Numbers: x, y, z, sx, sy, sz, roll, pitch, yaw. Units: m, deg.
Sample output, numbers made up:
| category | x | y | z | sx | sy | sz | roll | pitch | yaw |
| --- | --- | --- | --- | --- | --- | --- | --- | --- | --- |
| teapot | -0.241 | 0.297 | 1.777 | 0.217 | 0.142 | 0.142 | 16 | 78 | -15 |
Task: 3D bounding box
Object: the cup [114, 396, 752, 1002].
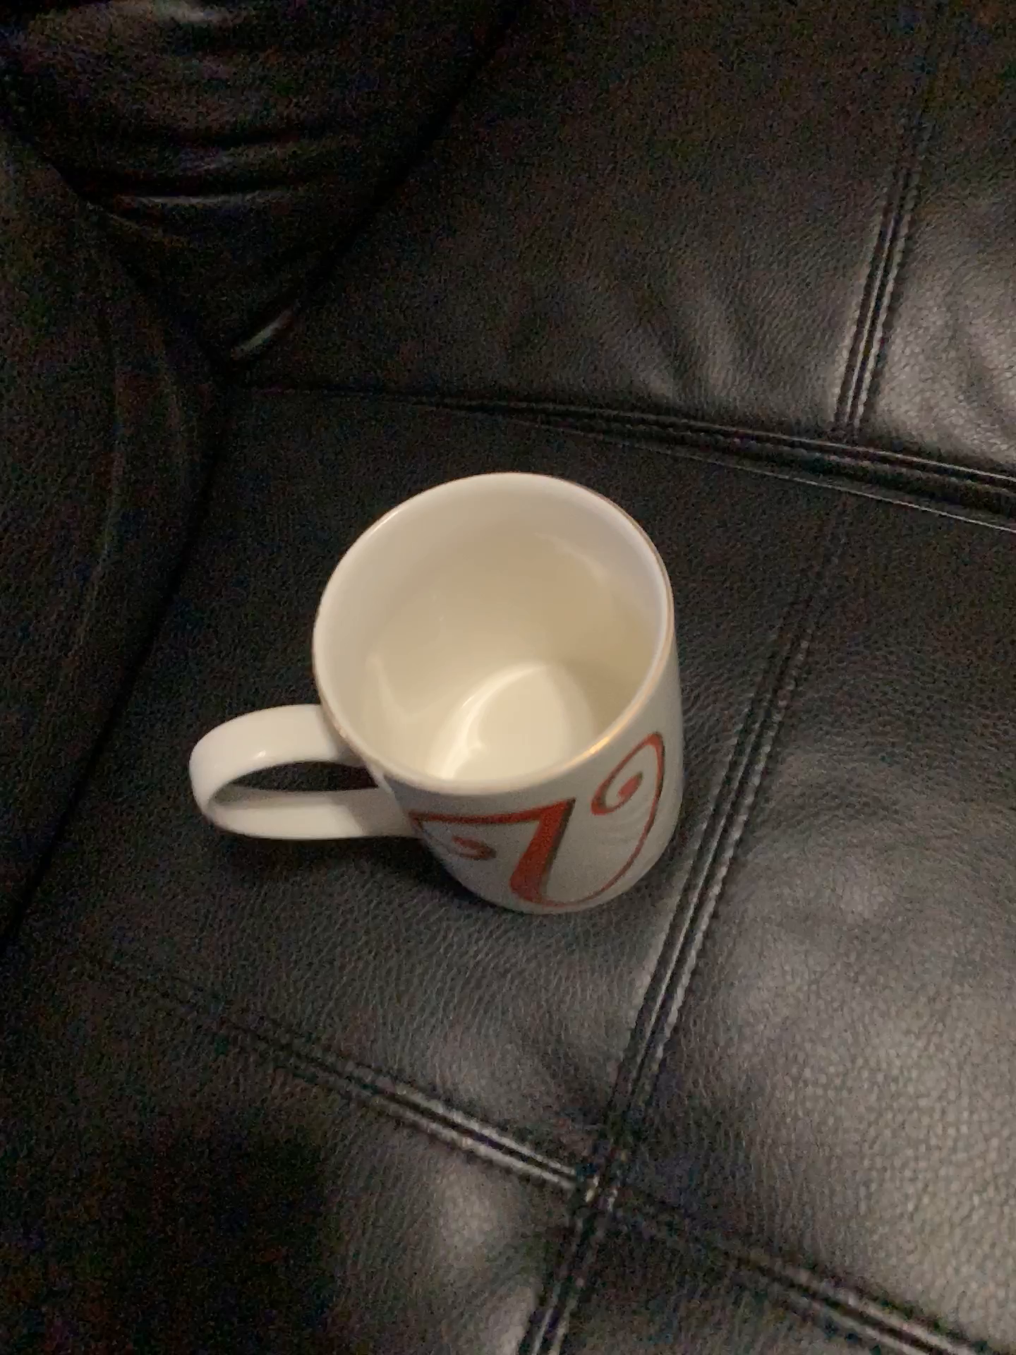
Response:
| category | x | y | z | sx | sy | sz | roll | pitch | yaw |
| --- | --- | --- | --- | --- | --- | --- | --- | --- | --- |
| cup | -0.017 | 0.013 | 0.293 | 0.138 | 0.107 | 0.098 | -17 | 60 | 3 |
